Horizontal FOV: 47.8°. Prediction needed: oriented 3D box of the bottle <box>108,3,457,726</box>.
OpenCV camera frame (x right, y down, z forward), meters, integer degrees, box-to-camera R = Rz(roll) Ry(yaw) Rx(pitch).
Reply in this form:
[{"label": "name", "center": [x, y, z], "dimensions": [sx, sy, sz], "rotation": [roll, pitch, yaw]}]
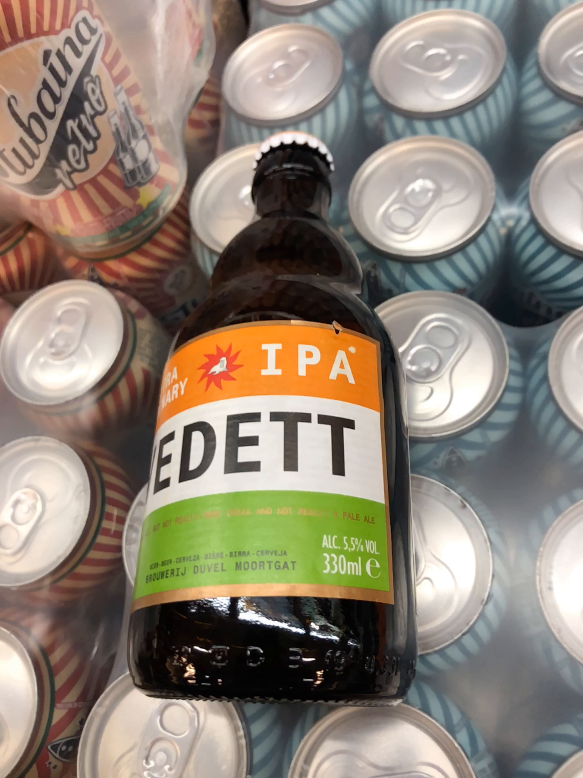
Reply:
[{"label": "bottle", "center": [0.003, -0.012, 0.192], "dimensions": [0.070, 0.060, 0.190], "rotation": [-5, 67, 13]}]
